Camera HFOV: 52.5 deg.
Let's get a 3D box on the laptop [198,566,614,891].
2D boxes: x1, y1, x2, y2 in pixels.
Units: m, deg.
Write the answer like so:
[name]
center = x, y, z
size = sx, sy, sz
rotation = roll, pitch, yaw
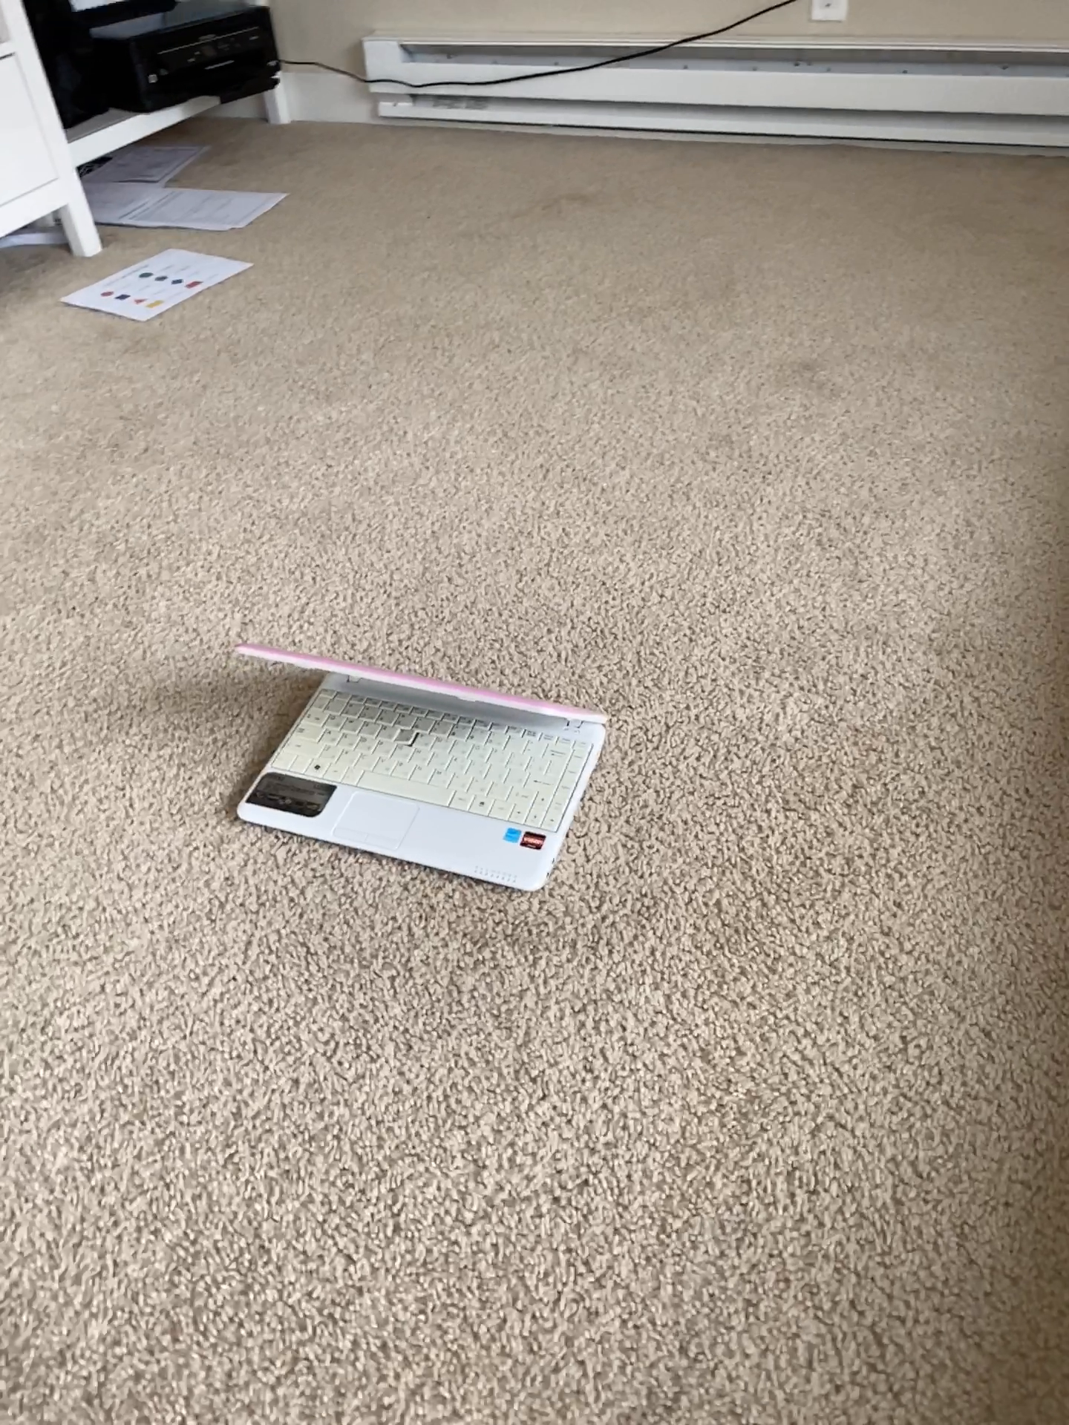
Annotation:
[laptop]
center = -0.102, 0.004, 0.949
size = 0.297, 0.122, 0.198
rotation = 11, 48, 19
